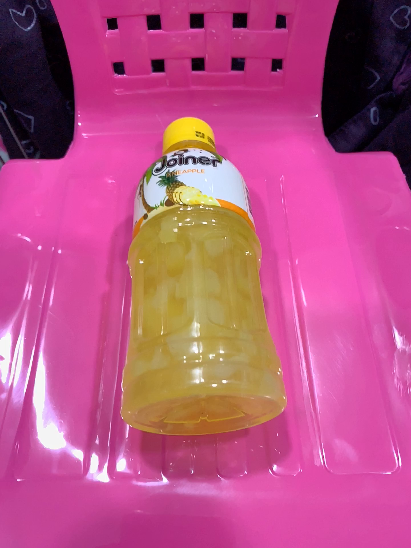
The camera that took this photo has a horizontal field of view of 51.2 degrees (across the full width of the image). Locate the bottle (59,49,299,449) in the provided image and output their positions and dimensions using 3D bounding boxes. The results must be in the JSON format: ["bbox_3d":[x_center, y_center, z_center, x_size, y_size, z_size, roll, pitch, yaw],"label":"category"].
[{"bbox_3d":[-0.010,-0.013,0.193,0.070,0.060,0.160,-12,61,14],"label":"bottle"}]
